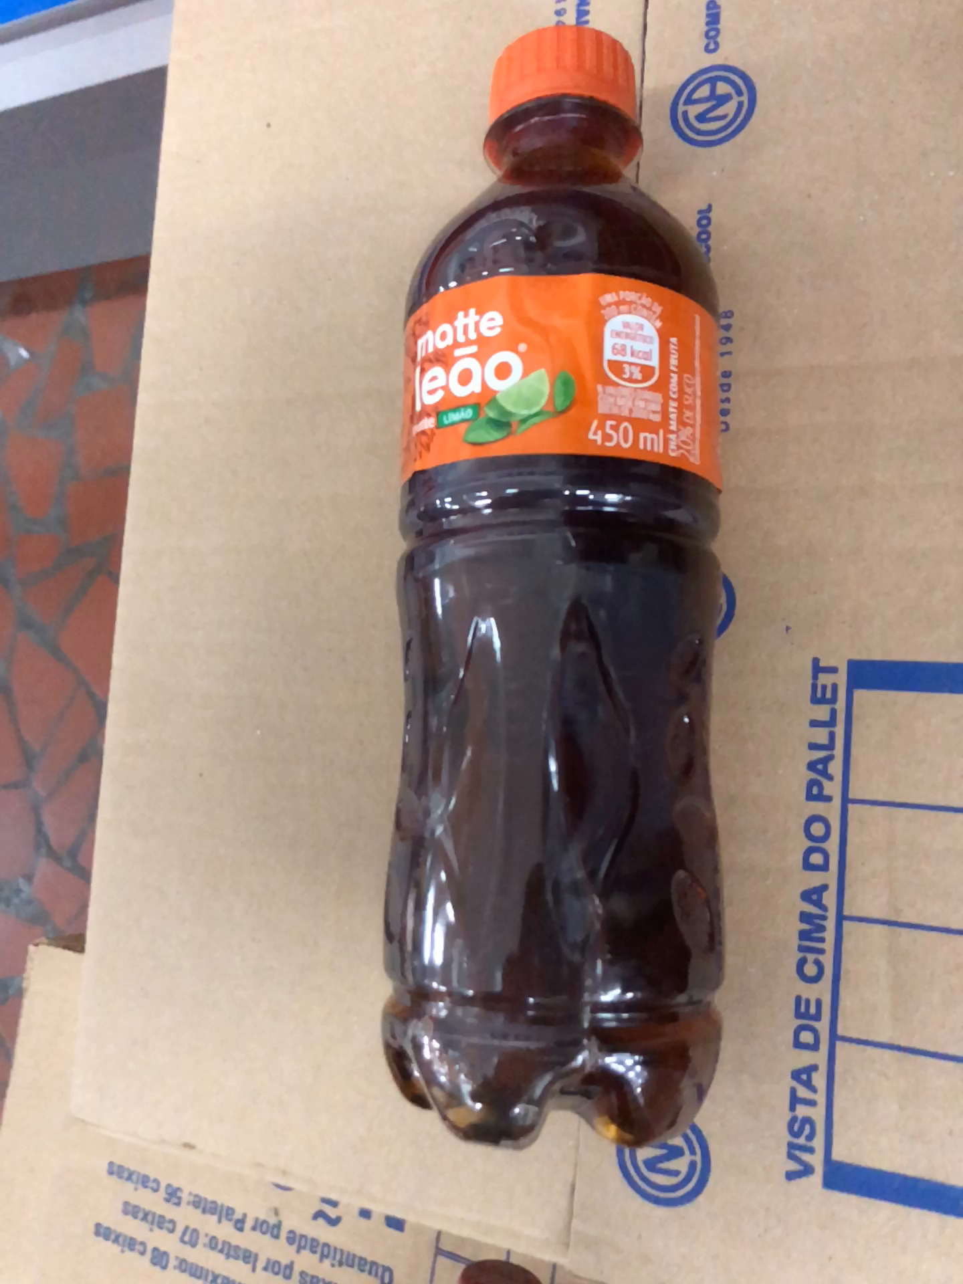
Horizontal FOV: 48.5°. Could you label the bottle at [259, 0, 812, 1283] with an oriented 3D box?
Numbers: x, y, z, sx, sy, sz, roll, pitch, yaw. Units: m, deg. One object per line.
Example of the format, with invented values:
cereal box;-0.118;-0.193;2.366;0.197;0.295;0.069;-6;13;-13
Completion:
bottle;0.016;-0.011;0.195;0.070;0.060;0.220;2;84;22
